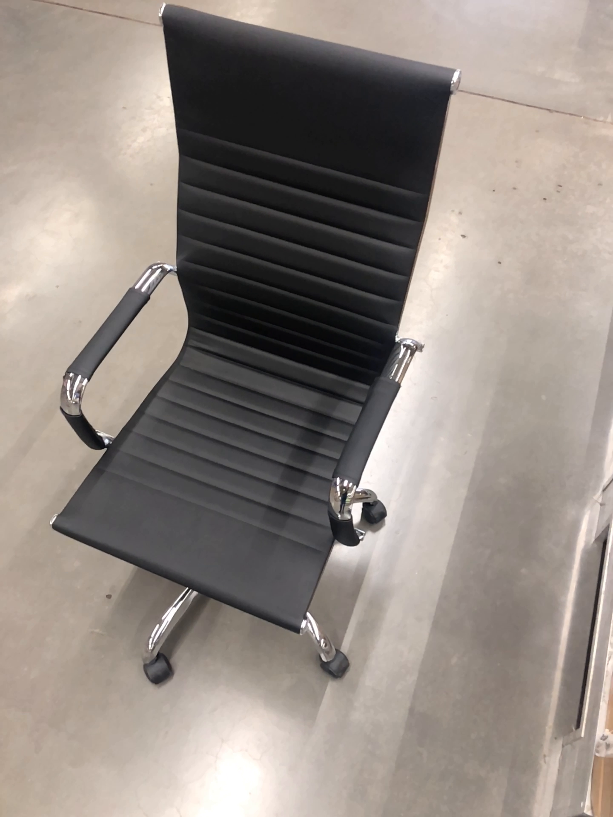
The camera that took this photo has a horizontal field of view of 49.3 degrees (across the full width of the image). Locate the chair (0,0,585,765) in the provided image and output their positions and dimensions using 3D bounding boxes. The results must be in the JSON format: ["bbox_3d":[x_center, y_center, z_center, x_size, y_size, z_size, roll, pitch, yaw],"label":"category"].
[{"bbox_3d":[-0.119,0.047,1.202,0.670,1.094,0.743,22,58,10],"label":"chair"}]
